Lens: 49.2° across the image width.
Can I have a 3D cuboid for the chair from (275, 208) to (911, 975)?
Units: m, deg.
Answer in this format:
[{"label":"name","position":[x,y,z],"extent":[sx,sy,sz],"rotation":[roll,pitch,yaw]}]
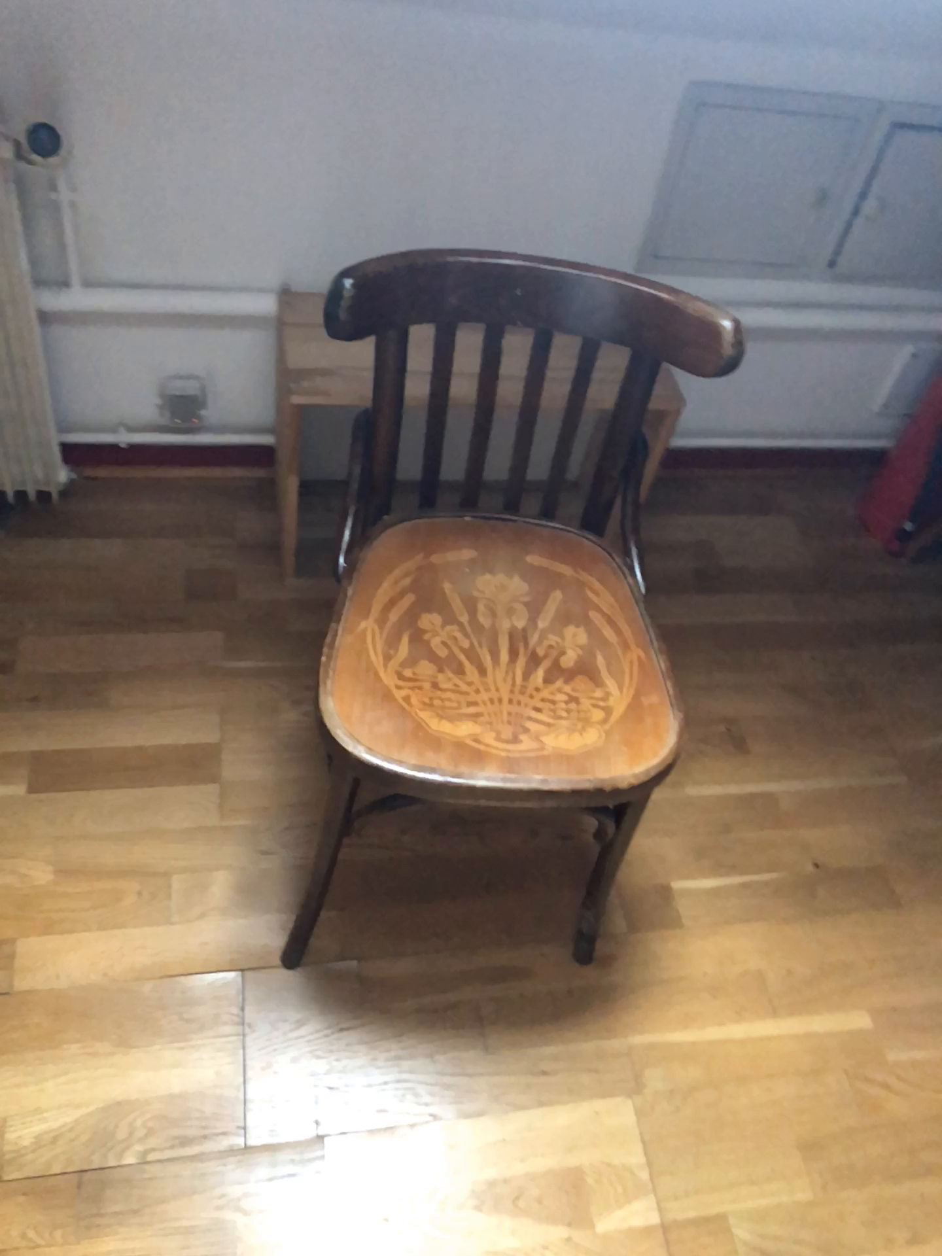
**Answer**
[{"label":"chair","position":[0.029,0.022,1.122],"extent":[0.442,0.737,0.414],"rotation":[3,48,-10]}]
